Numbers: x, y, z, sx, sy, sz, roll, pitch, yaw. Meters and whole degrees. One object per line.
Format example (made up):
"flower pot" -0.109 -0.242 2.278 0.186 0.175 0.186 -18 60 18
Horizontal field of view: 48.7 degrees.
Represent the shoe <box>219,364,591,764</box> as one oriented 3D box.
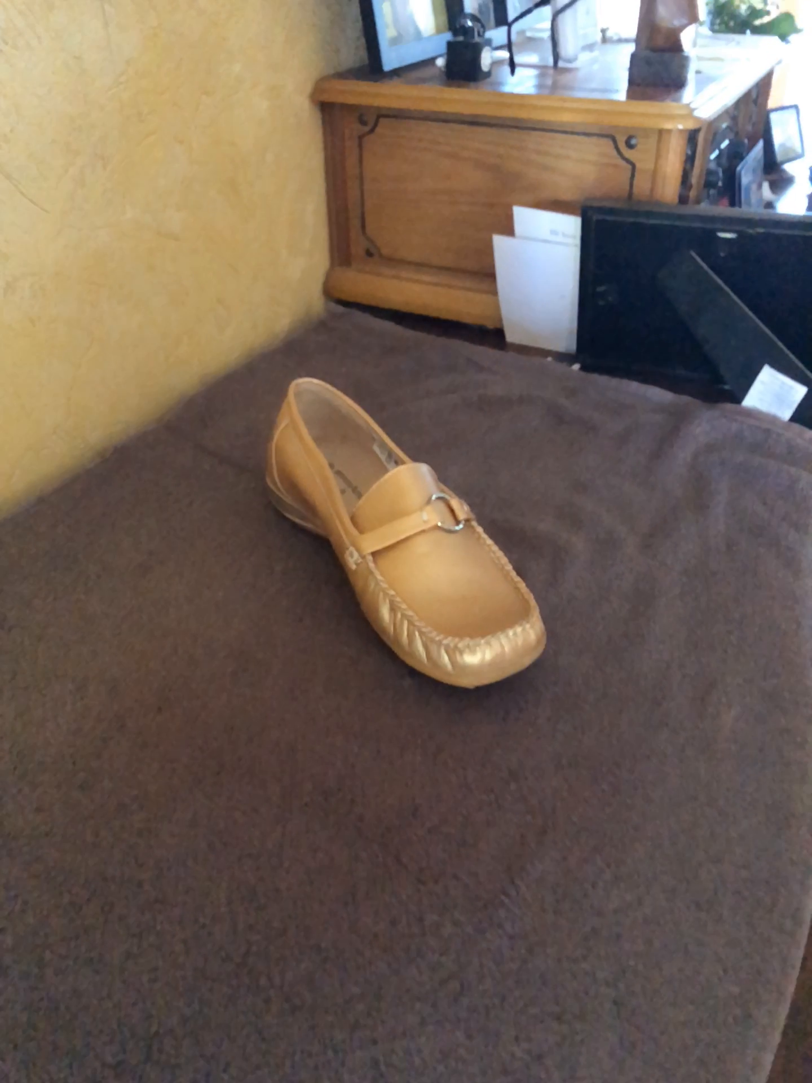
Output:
"shoe" -0.016 -0.007 0.502 0.080 0.080 0.261 -18 39 -24
